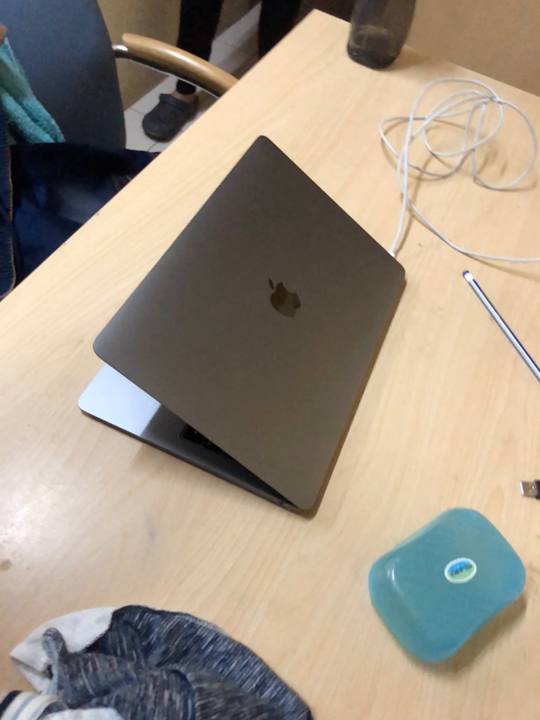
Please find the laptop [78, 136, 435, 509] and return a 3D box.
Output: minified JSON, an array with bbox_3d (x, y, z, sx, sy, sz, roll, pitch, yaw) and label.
[{"bbox_3d":[0.003,-0.053,0.528,0.192,0.094,0.295,24,53,8],"label":"laptop"}]
